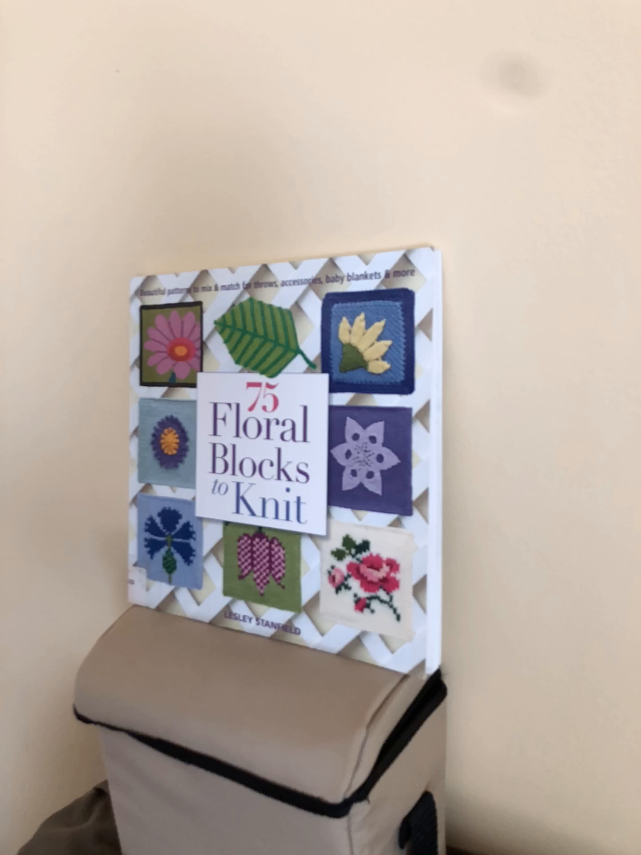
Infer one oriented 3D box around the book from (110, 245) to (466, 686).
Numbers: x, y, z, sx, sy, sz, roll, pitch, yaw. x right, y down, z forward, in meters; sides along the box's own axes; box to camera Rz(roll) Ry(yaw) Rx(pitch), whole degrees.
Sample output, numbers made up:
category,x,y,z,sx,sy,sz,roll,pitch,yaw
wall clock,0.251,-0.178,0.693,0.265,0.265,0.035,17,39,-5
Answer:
category,x,y,z,sx,sy,sz,roll,pitch,yaw
book,-0.032,0.011,0.406,0.218,0.215,0.020,5,3,31
